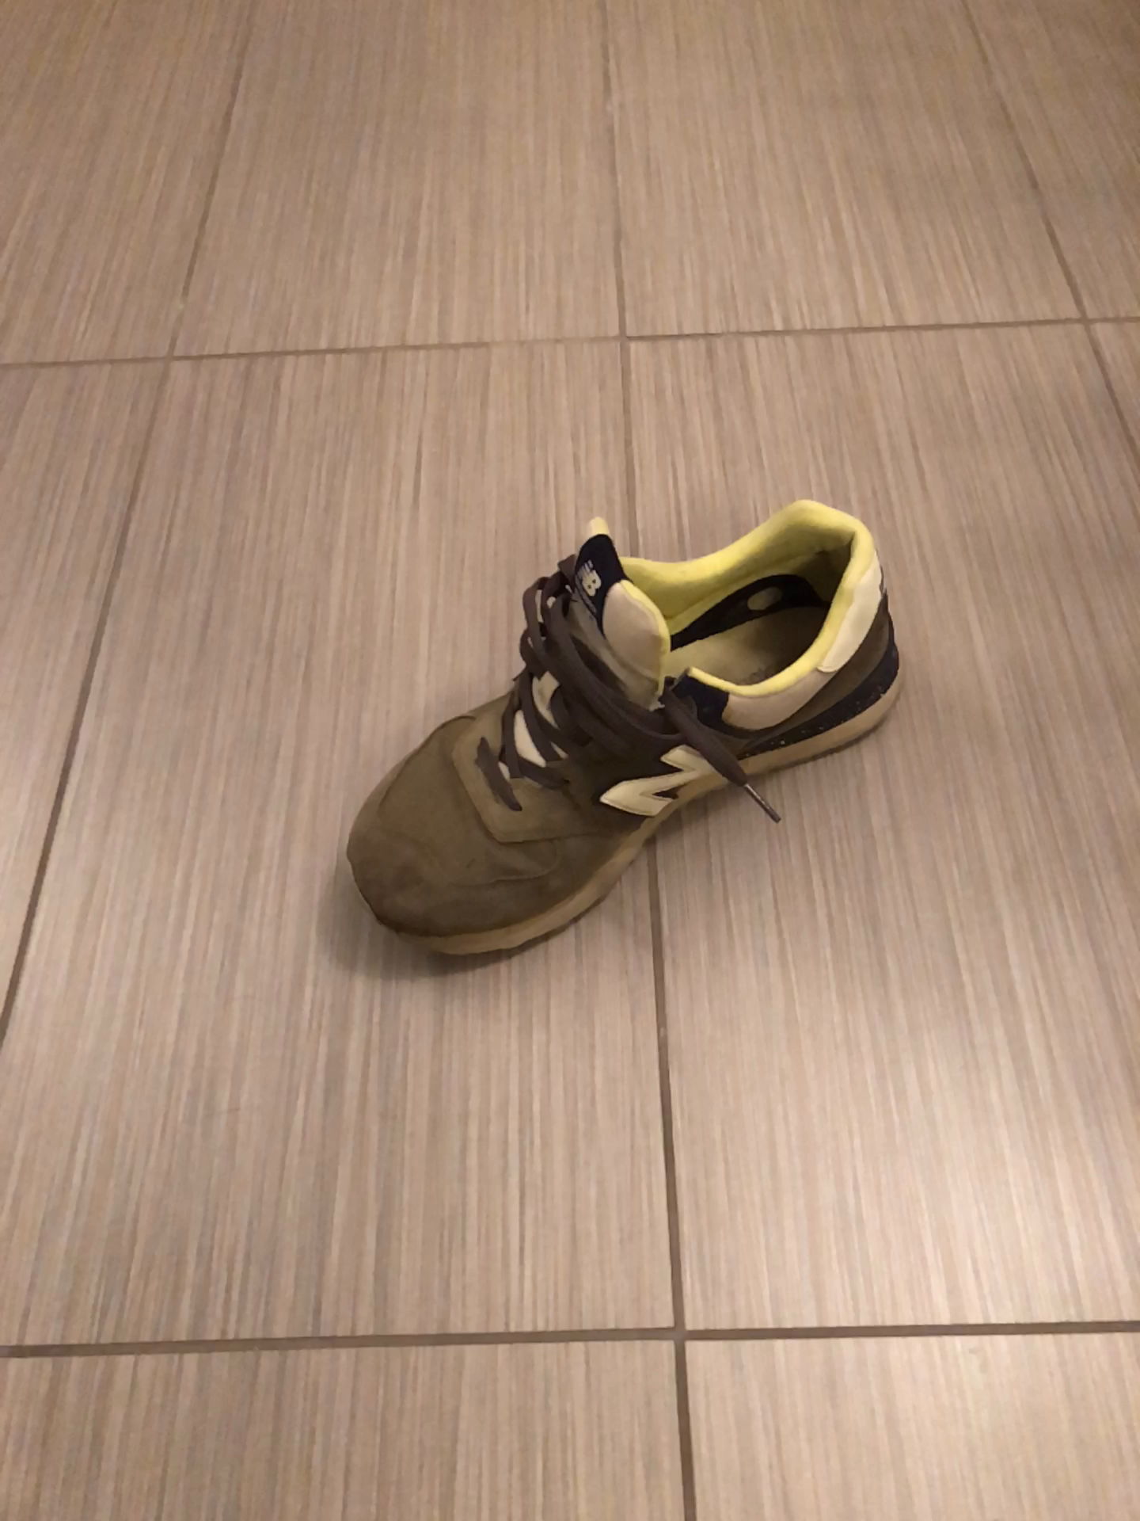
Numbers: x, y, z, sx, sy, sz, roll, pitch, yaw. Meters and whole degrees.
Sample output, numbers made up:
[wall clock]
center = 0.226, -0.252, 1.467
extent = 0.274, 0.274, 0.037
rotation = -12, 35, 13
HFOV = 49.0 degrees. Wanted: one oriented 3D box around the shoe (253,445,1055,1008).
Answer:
[shoe]
center = 0.035, -0.019, 0.570
extent = 0.310, 0.110, 0.130
rotation = -18, 57, -10
